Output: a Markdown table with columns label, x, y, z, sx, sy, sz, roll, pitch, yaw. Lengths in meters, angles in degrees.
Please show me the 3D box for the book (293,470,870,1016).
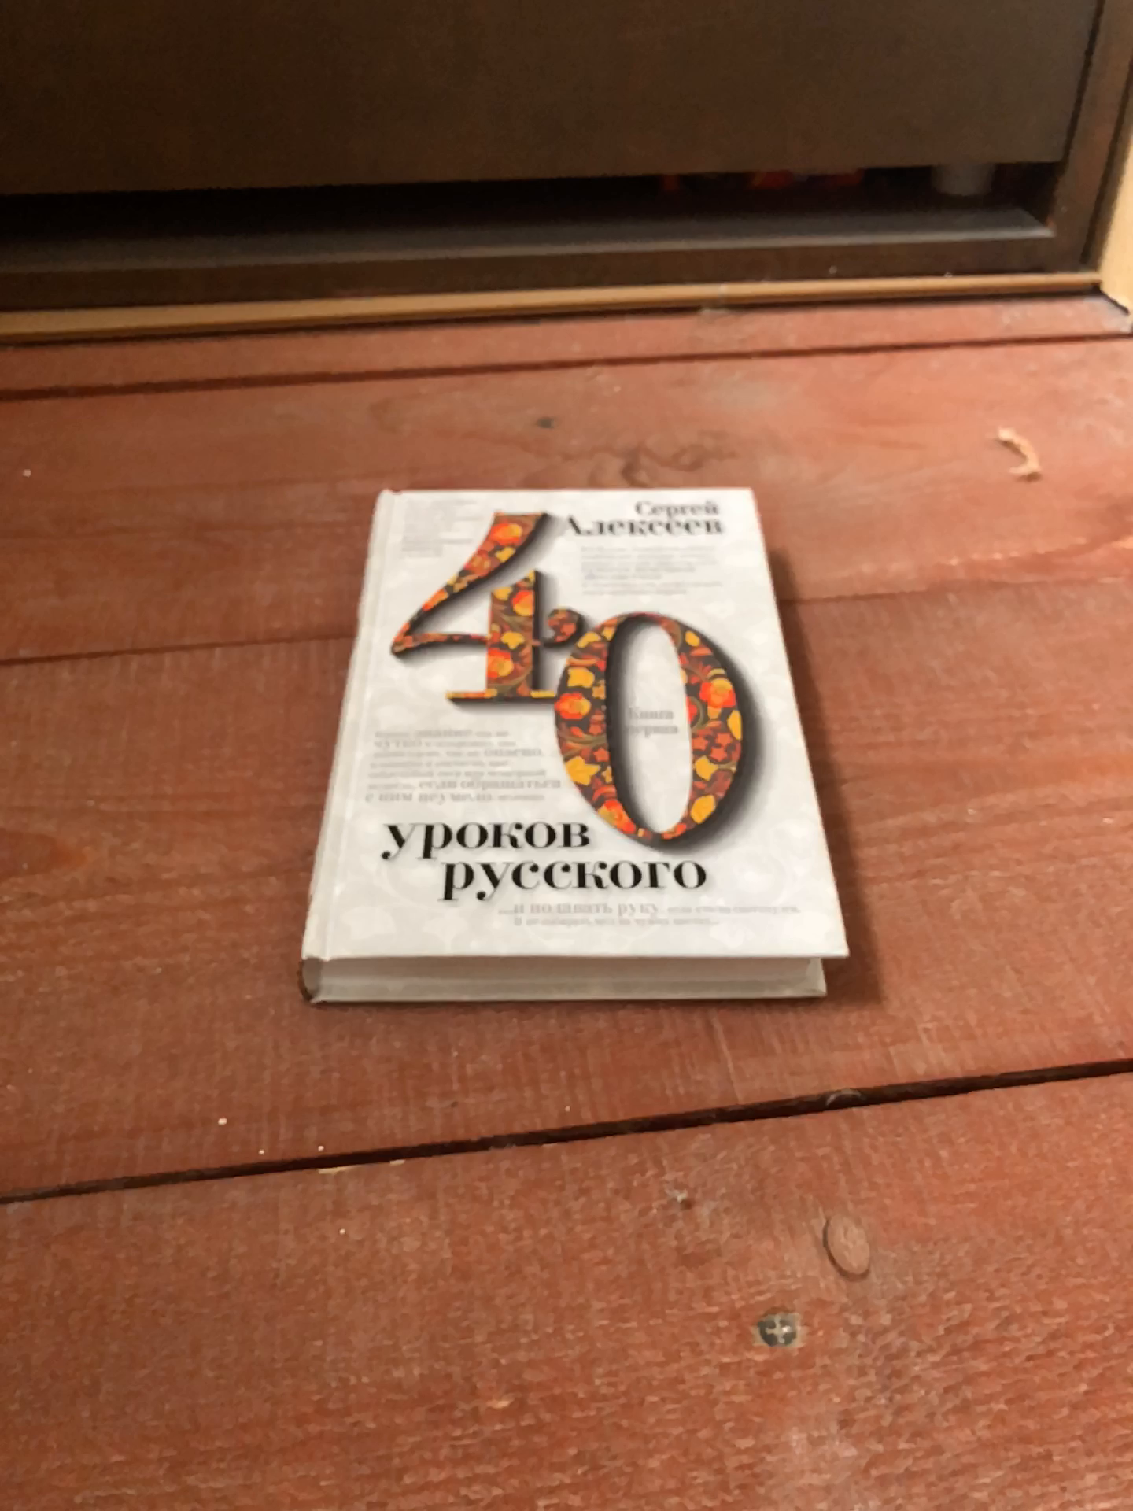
| label | x | y | z | sx | sy | sz | roll | pitch | yaw |
| --- | --- | --- | --- | --- | --- | --- | --- | --- | --- |
| book | 0.002 | -0.017 | 0.379 | 0.135 | 0.030 | 0.201 | 0 | 45 | -1 |
